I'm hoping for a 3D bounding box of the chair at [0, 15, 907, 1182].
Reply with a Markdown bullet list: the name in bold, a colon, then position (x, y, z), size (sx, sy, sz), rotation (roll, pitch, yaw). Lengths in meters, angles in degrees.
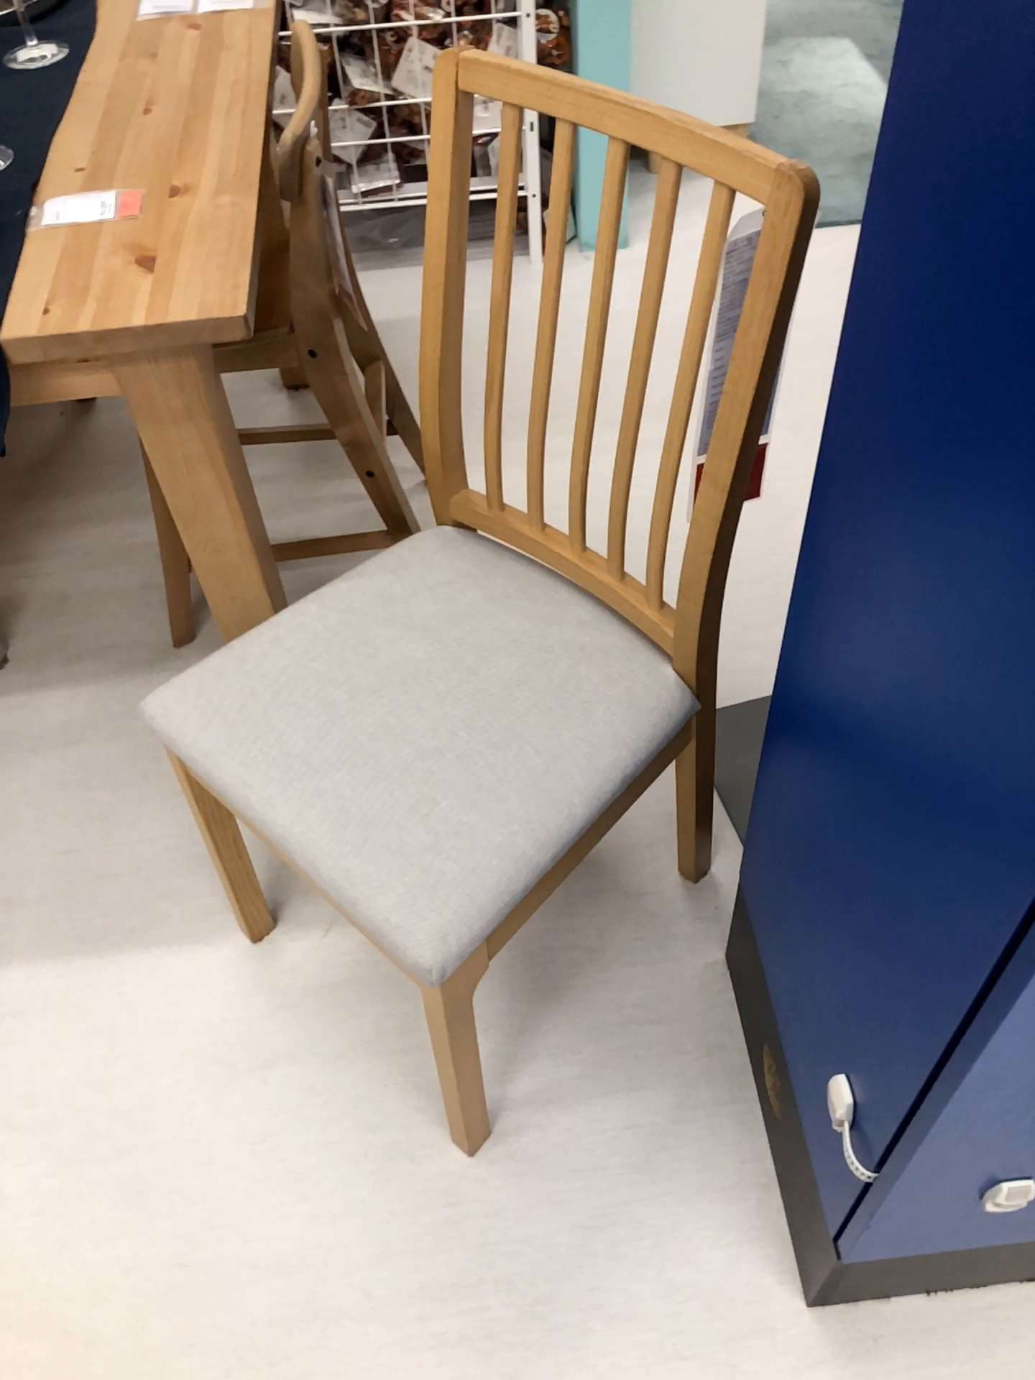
- **chair**: position (-0.065, -0.028, 1.060), size (0.452, 0.855, 0.511), rotation (36, 61, 28)
